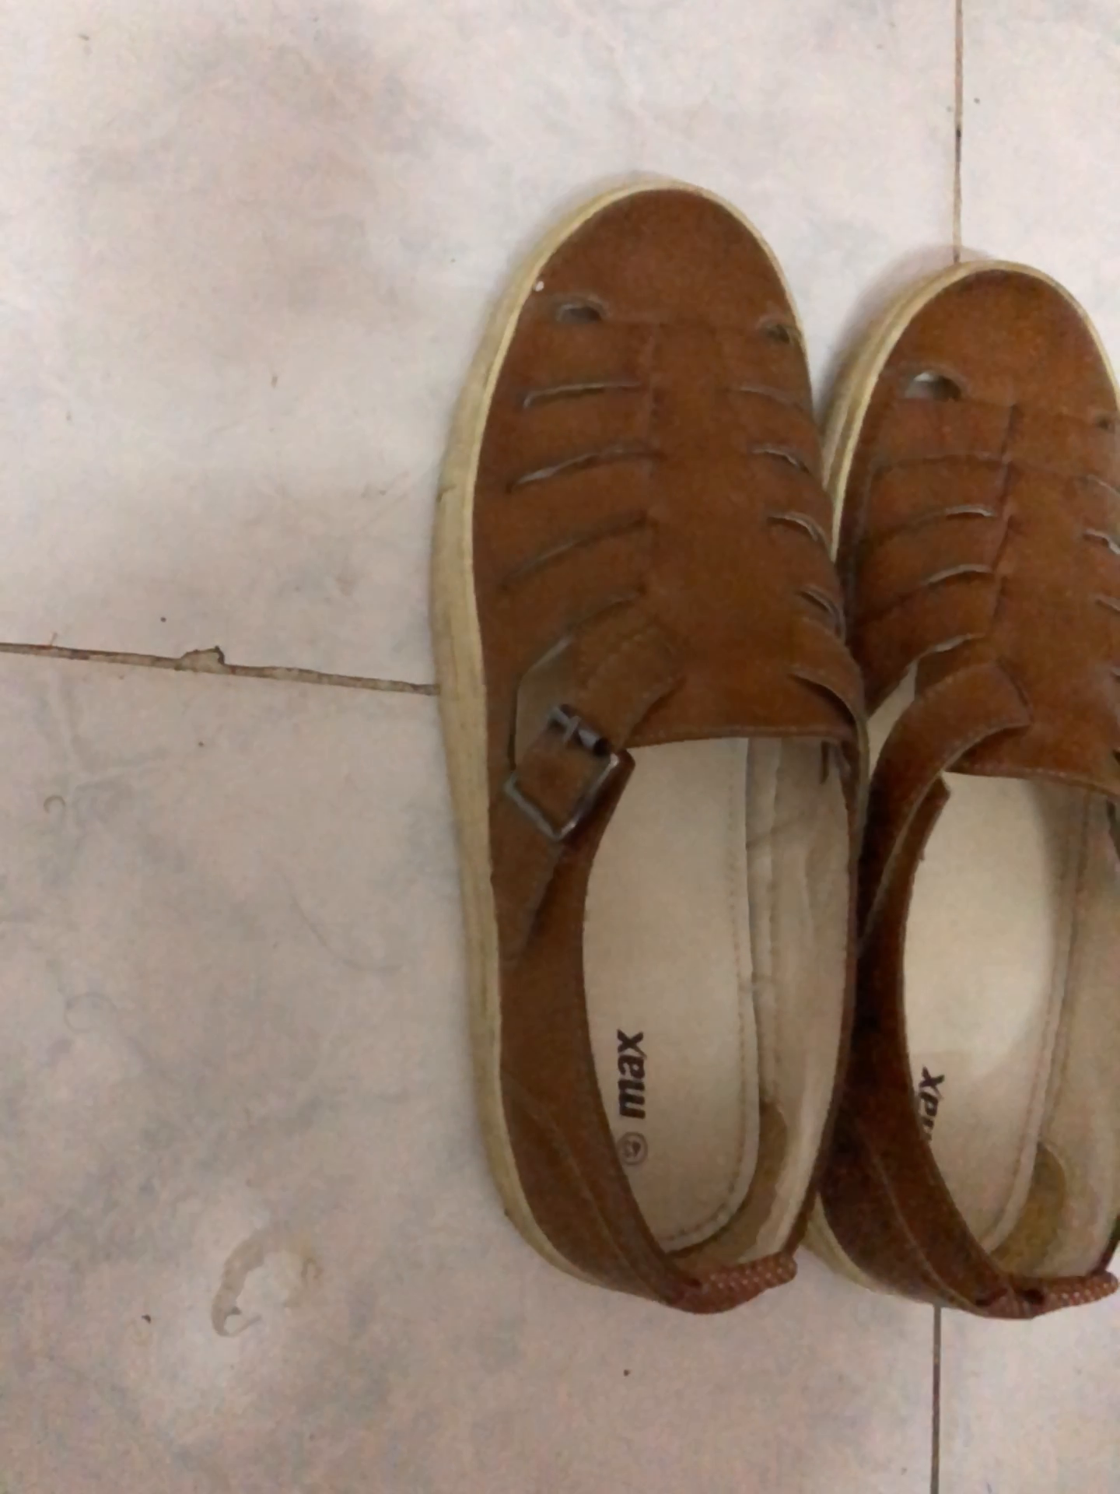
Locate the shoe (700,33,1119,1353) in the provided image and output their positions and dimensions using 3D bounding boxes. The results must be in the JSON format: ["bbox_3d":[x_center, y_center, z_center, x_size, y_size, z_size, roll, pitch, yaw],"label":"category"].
[{"bbox_3d":[0.117,-0.012,0.338,0.110,0.100,0.300,7,80,-13],"label":"shoe"}]

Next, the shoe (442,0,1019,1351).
[{"bbox_3d":[0.031,-0.023,0.324,0.110,0.100,0.300,1,82,-14],"label":"shoe"}]
